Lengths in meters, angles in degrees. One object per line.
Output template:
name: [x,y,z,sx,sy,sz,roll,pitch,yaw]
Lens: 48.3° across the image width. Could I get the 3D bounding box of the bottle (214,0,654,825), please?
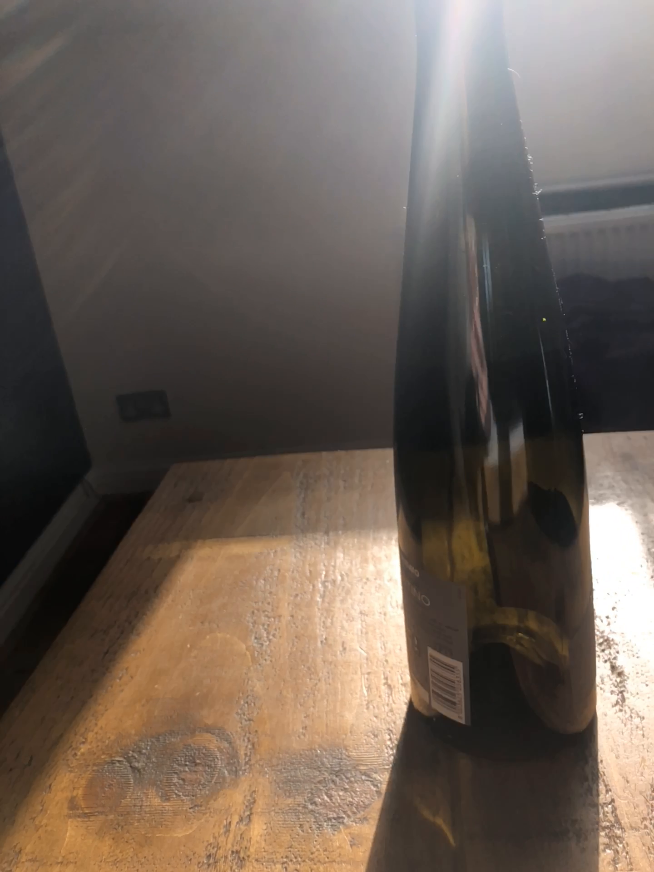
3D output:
bottle: [0.046,-0.025,0.292,0.100,0.338,0.100,-7,23,3]
